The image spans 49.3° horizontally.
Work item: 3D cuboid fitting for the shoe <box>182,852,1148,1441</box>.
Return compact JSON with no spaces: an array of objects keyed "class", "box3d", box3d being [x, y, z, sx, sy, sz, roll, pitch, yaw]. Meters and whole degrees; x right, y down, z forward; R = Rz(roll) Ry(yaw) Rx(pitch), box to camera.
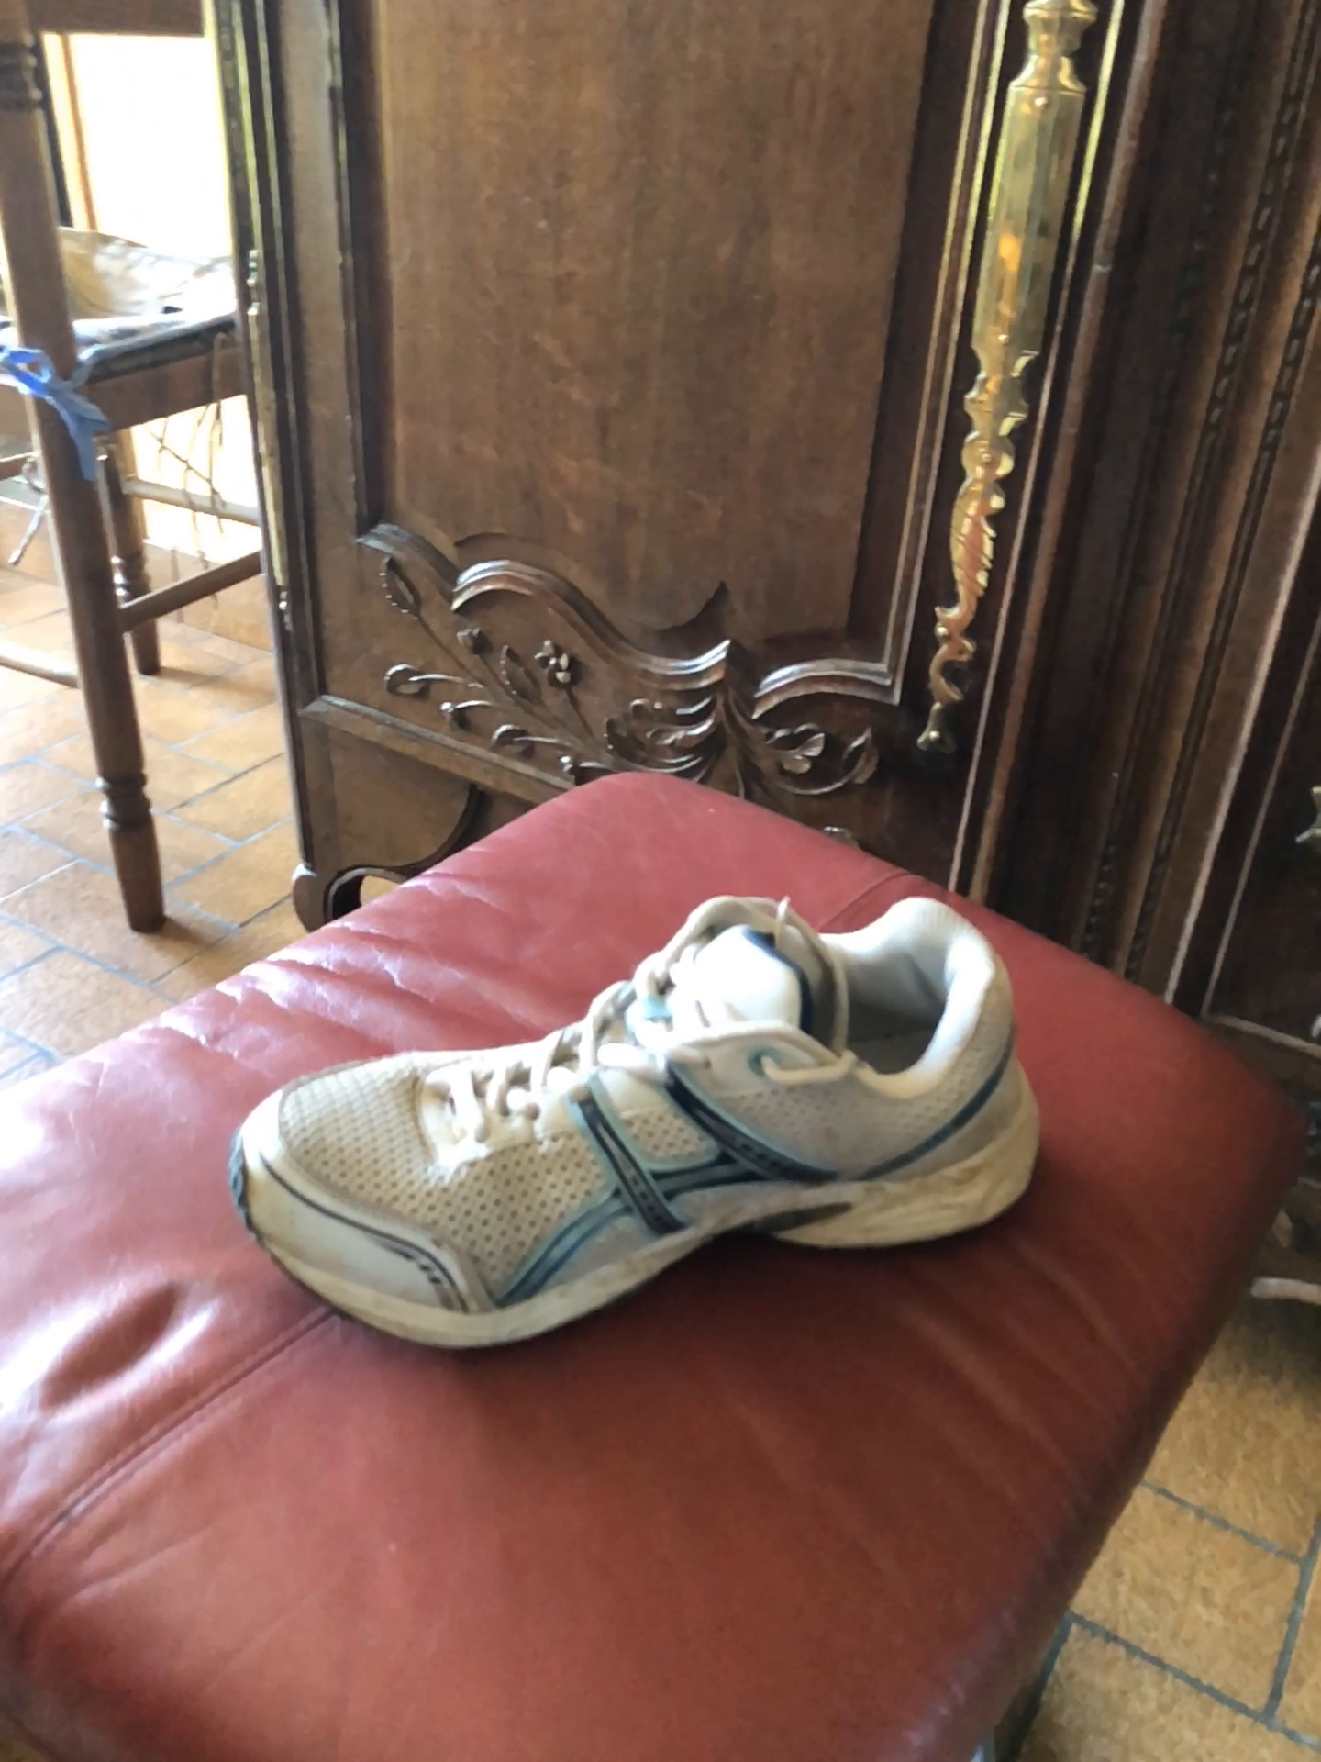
[{"class":"shoe","box3d":[-0.004,0.071,0.457,0.271,0.079,0.120,-7,33,-16]}]
